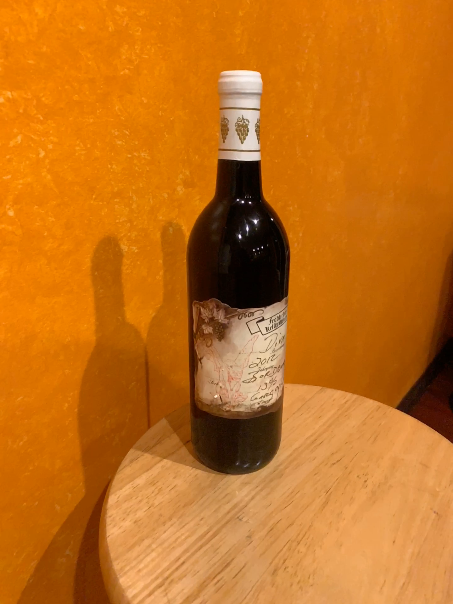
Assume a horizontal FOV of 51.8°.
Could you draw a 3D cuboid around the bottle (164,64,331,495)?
[{"bbox_3d":[0.011,-0.010,0.345,0.070,0.289,0.080,19,28,37],"label":"bottle"}]
